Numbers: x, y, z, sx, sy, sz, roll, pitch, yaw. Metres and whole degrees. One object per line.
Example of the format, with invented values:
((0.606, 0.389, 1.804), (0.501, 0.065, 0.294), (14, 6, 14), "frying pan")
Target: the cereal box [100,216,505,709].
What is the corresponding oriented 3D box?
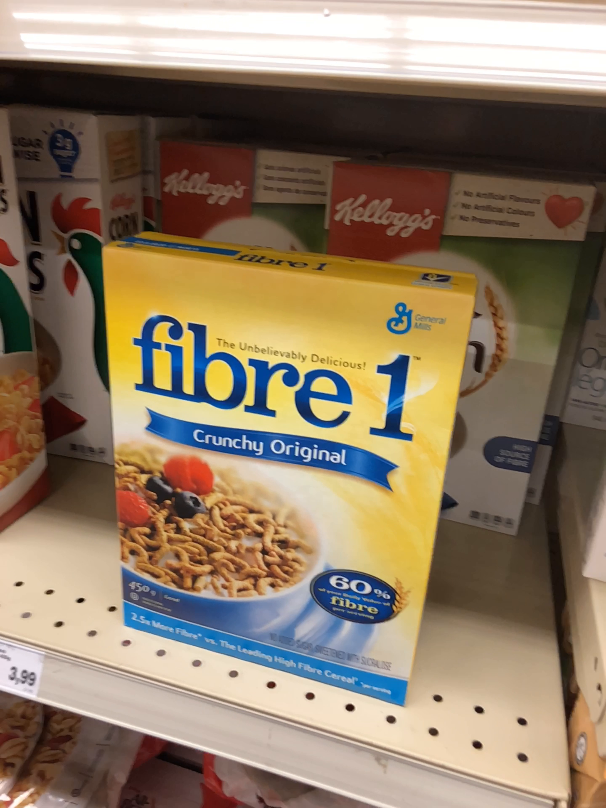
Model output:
((-0.009, 0.037, 0.414), (0.210, 0.268, 0.060), (11, 25, 15), "cereal box")
